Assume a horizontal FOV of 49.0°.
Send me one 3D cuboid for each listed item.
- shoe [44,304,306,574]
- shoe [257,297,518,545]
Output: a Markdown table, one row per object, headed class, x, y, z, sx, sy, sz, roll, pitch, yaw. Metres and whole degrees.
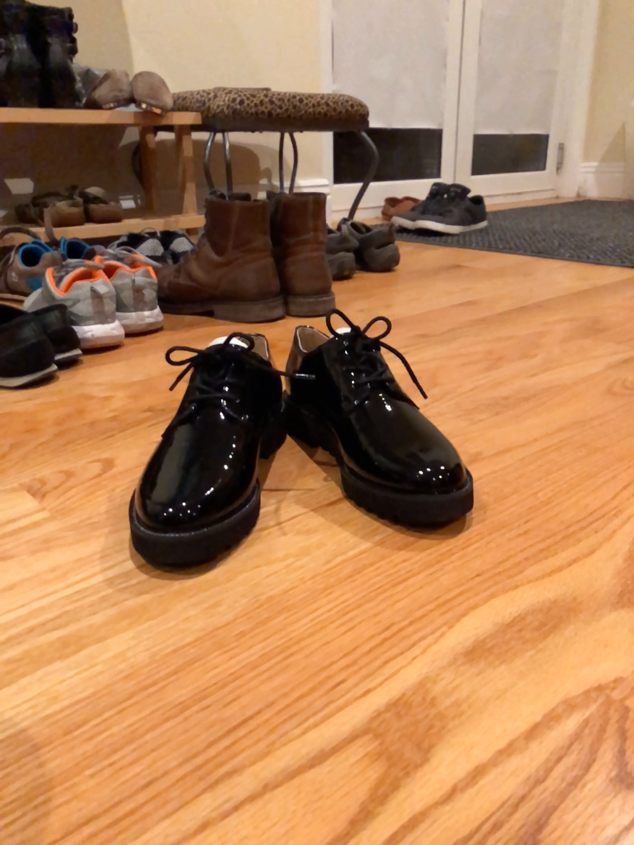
| class | x | y | z | sx | sy | sz | roll | pitch | yaw |
| --- | --- | --- | --- | --- | --- | --- | --- | --- | --- |
| shoe | -0.080 | -0.008 | 0.509 | 0.095 | 0.102 | 0.252 | 3 | 22 | 10 |
| shoe | 0.036 | -0.020 | 0.544 | 0.095 | 0.102 | 0.252 | -9 | 23 | -19 |
